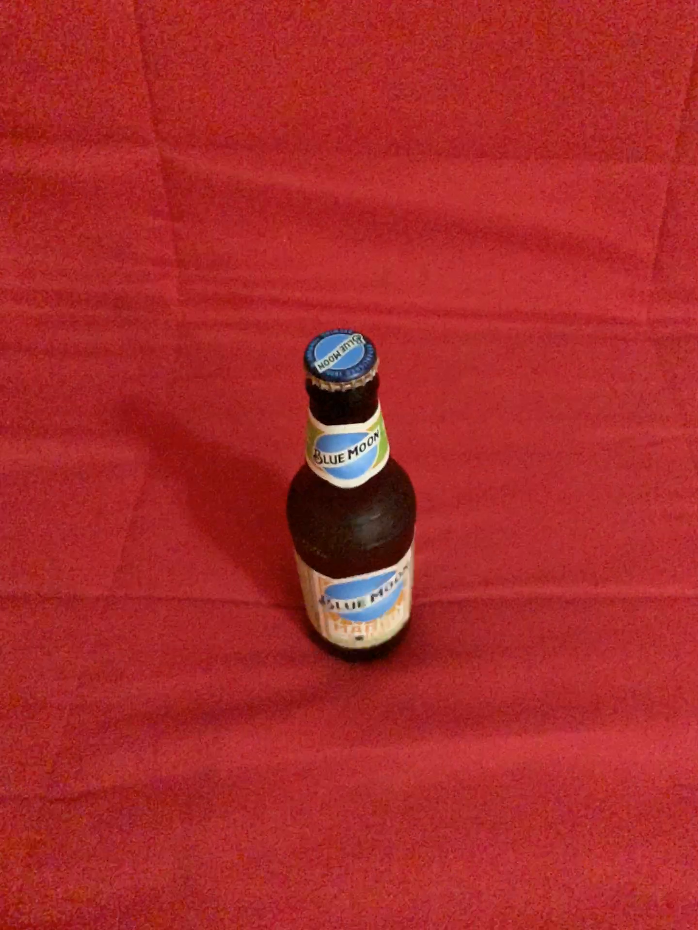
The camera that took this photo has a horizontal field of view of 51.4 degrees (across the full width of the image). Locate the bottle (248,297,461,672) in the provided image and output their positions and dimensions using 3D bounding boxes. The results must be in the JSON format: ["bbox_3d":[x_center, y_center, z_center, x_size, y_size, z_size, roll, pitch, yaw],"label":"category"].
[{"bbox_3d":[0.004,0.027,0.347,0.070,0.216,0.069,-1,56,2],"label":"bottle"}]
